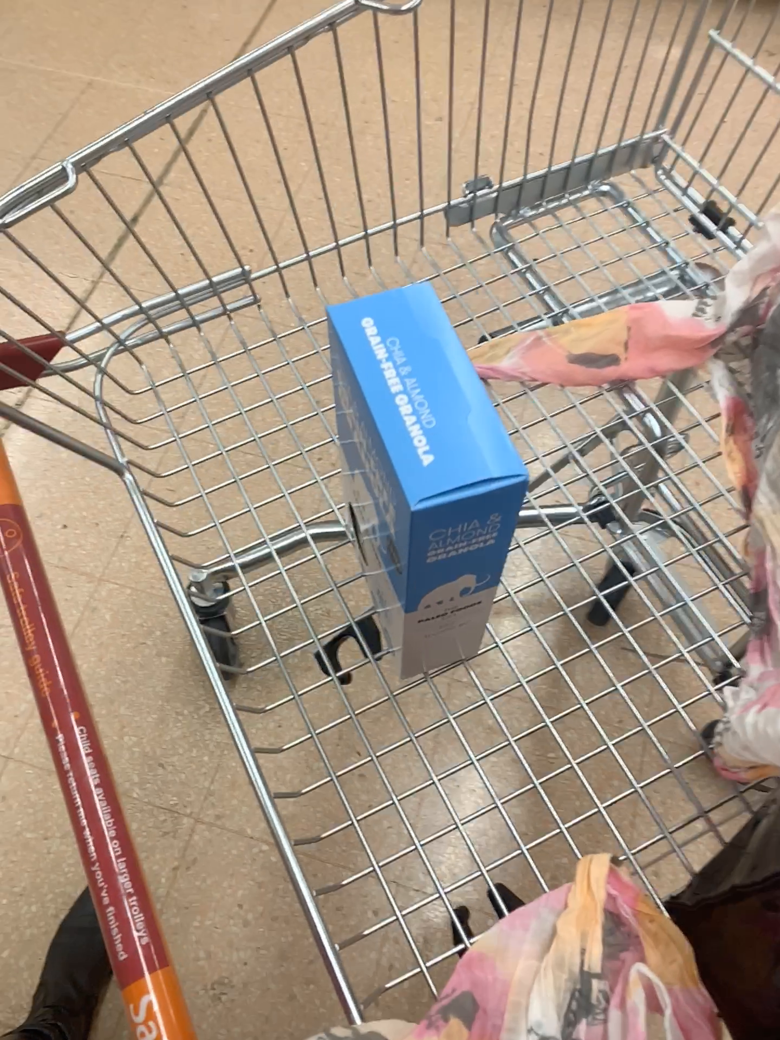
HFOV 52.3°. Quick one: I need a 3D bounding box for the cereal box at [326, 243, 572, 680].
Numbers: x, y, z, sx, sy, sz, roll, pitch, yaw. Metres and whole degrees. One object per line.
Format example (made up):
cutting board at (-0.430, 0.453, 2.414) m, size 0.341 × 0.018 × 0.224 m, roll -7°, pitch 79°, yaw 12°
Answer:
cereal box at (0.020, -0.017, 0.439) m, size 0.060 × 0.209 × 0.141 m, roll -17°, pitch 63°, yaw -10°
